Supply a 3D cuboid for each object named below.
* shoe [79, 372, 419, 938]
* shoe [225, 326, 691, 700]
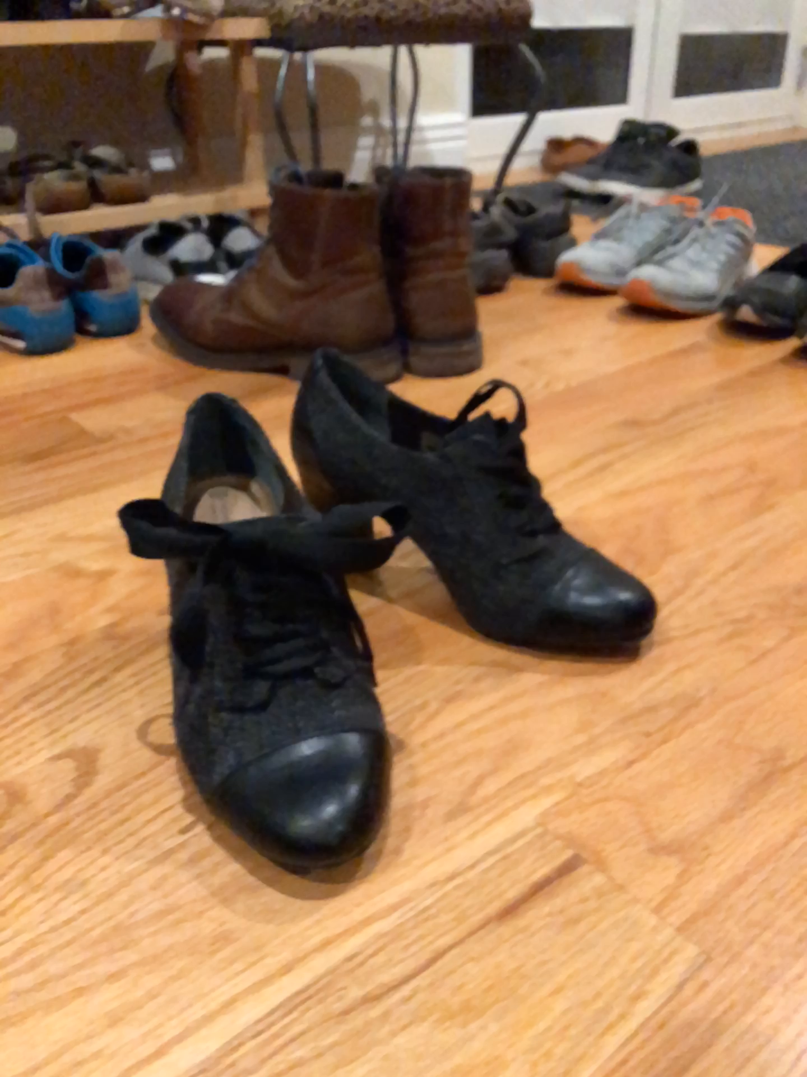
[{"bbox_3d":[-0.077,0.027,0.392,0.093,0.125,0.224,-11,30,-17],"label":"shoe"},{"bbox_3d":[0.022,-0.026,0.484,0.223,0.125,0.088,18,34,31],"label":"shoe"}]
